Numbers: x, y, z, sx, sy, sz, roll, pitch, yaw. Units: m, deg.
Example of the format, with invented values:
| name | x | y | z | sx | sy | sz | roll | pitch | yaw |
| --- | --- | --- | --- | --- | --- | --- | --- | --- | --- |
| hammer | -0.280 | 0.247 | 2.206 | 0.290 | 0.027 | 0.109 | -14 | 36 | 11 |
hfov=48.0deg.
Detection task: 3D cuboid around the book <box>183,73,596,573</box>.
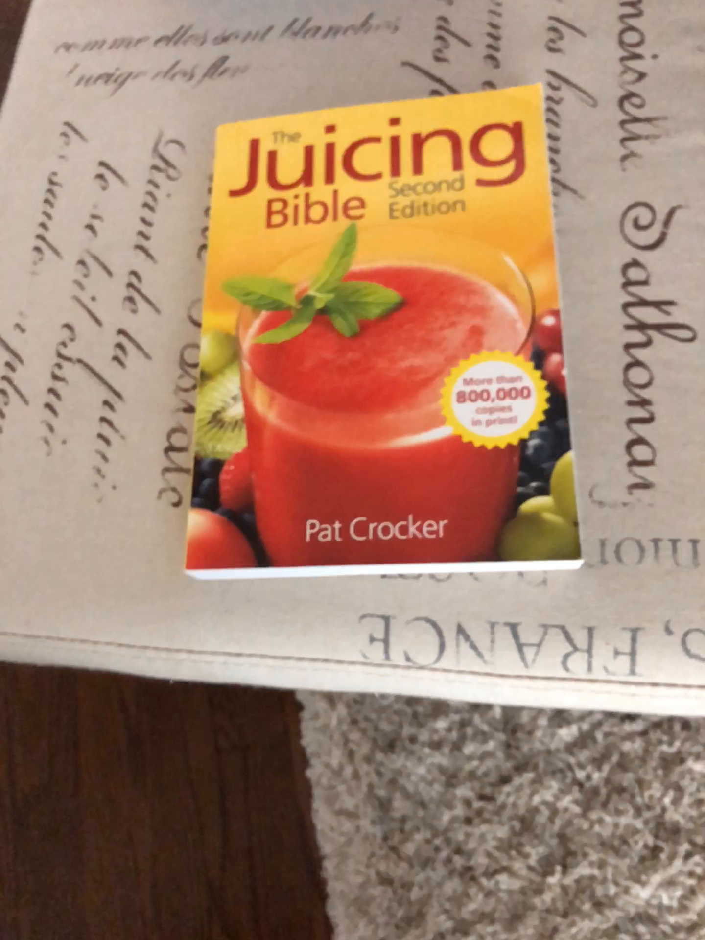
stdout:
| name | x | y | z | sx | sy | sz | roll | pitch | yaw |
| --- | --- | --- | --- | --- | --- | --- | --- | --- | --- |
| book | 0.016 | -0.077 | 0.396 | 0.180 | 0.030 | 0.250 | -2 | 71 | 10 |
